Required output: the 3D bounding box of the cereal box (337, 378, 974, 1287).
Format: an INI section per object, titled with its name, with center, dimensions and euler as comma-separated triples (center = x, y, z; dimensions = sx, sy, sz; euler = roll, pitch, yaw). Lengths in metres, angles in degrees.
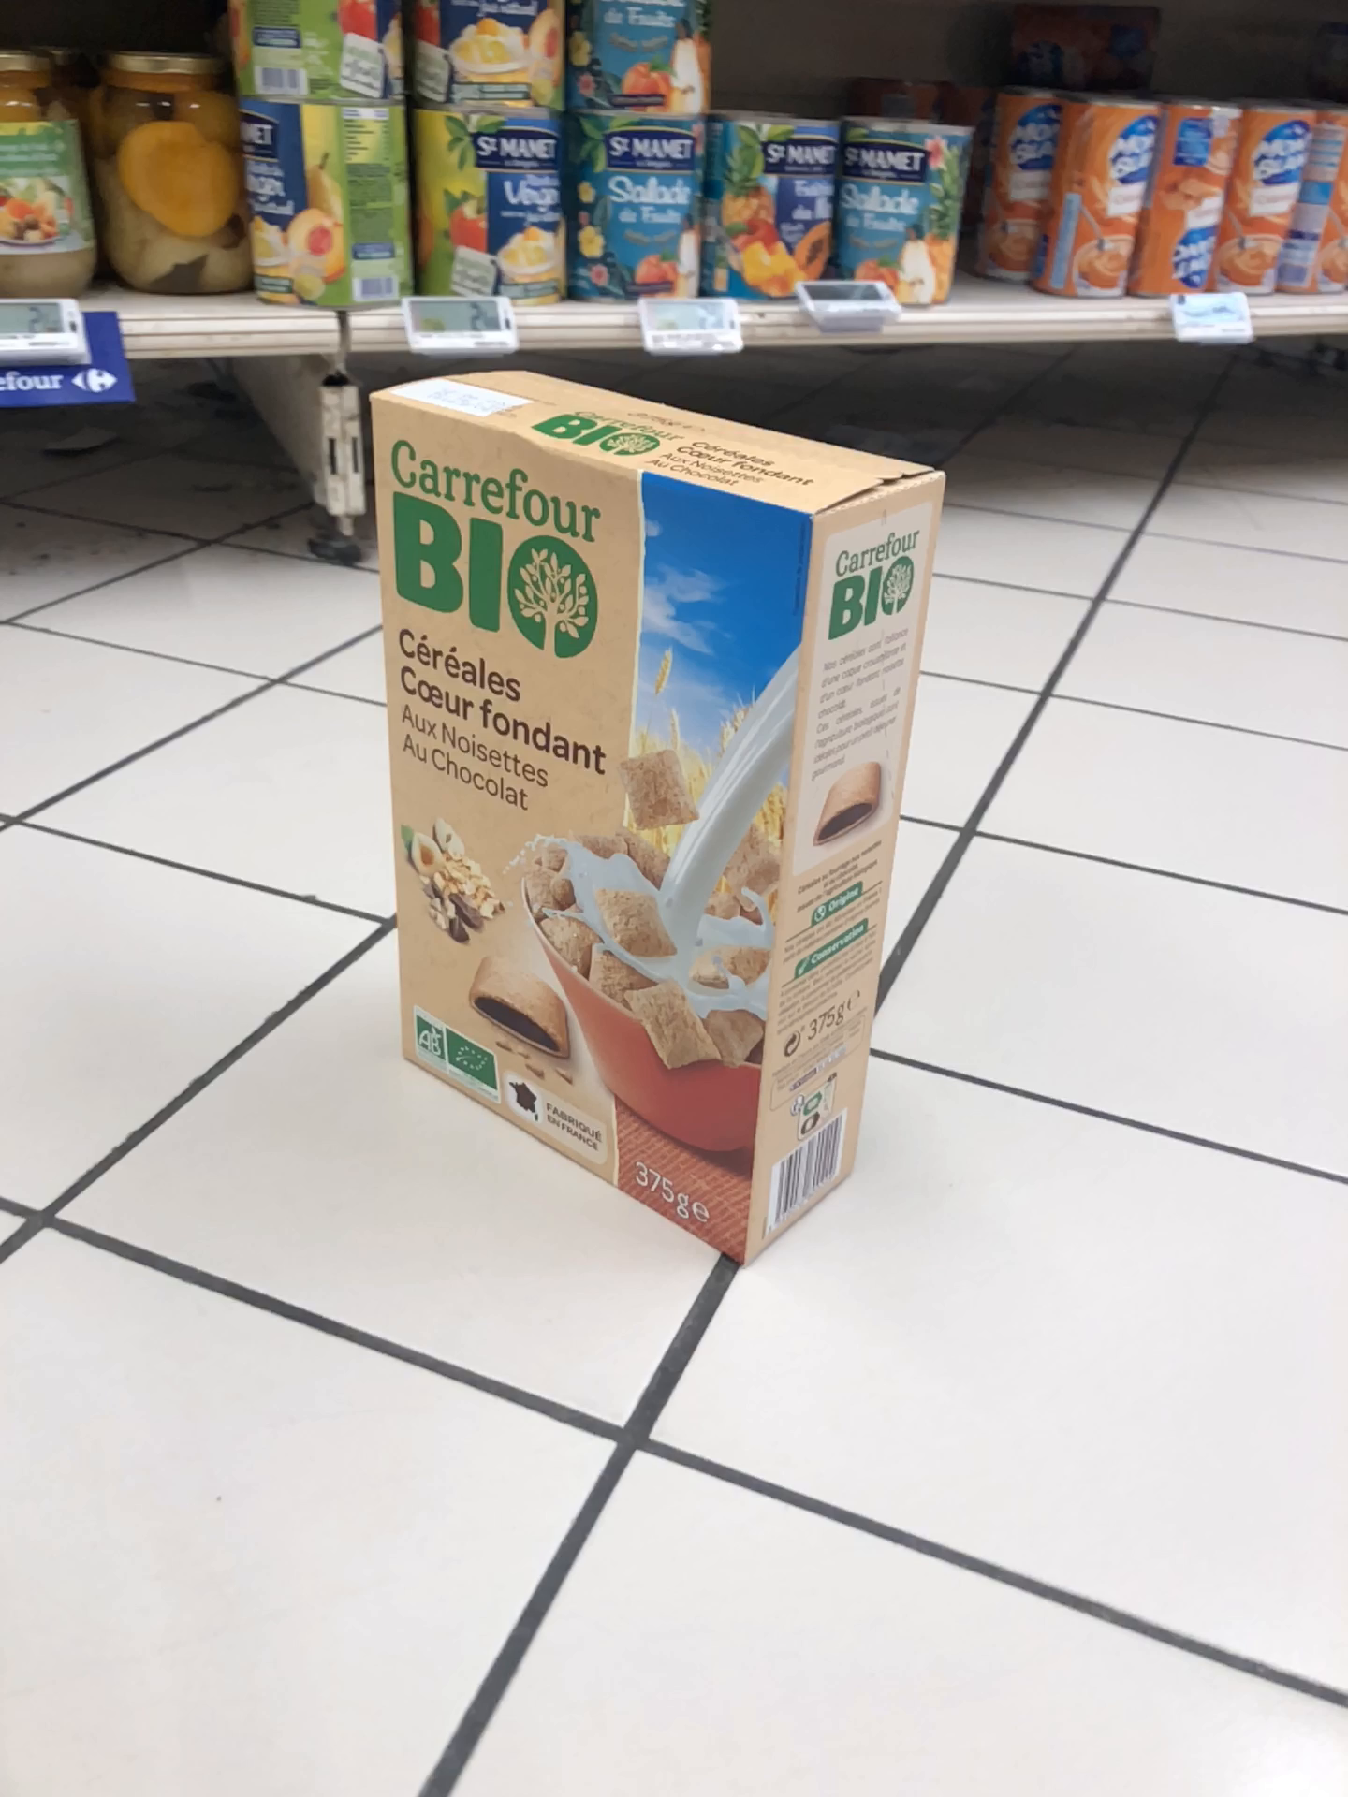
[cereal box]
center = -0.015, -0.026, 0.460
dimensions = 0.170, 0.229, 0.070
euler = 24, 35, 33
